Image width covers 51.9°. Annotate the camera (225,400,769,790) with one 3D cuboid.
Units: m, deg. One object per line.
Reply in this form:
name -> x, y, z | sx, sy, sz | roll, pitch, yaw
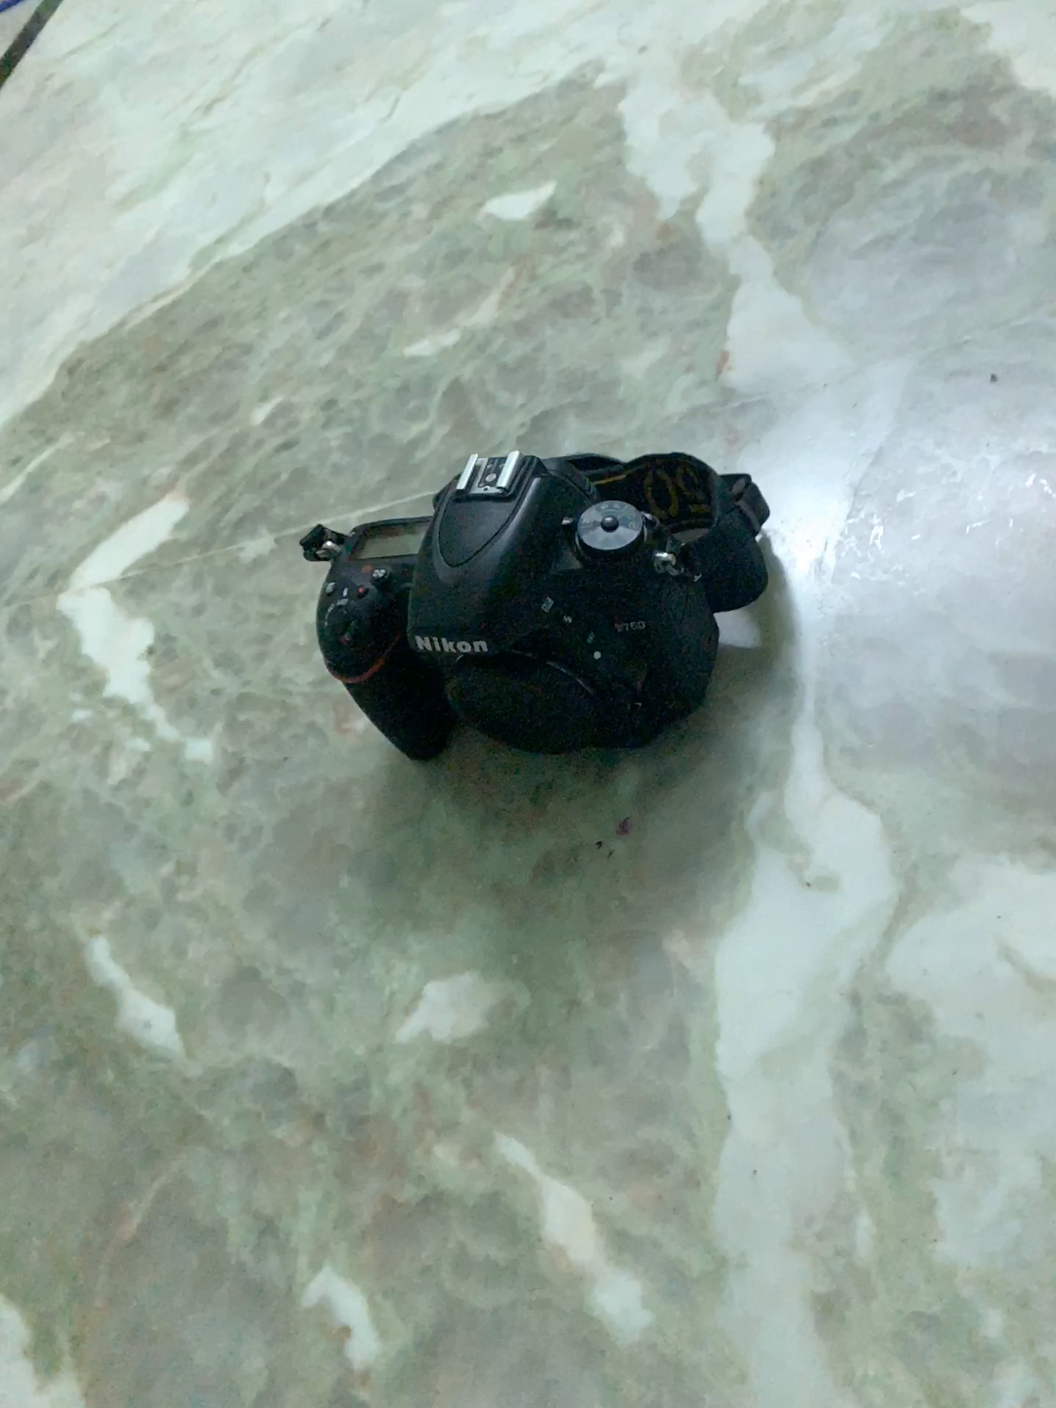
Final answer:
camera -> -0.006, -0.036, 0.387 | 0.151, 0.100, 0.080 | 4, 57, 29
